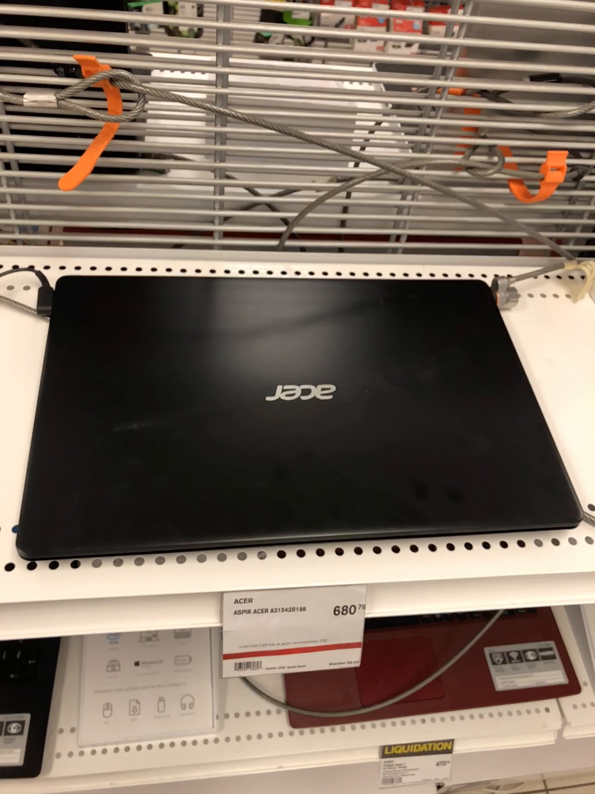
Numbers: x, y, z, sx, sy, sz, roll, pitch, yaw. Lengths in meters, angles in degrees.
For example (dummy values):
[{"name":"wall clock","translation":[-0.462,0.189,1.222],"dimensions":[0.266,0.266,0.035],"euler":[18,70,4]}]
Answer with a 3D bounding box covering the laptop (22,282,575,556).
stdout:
[{"name":"laptop","translation":[0.001,-0.003,0.489],"dimensions":[0.354,0.006,0.232],"euler":[-1,52,-10]}]
